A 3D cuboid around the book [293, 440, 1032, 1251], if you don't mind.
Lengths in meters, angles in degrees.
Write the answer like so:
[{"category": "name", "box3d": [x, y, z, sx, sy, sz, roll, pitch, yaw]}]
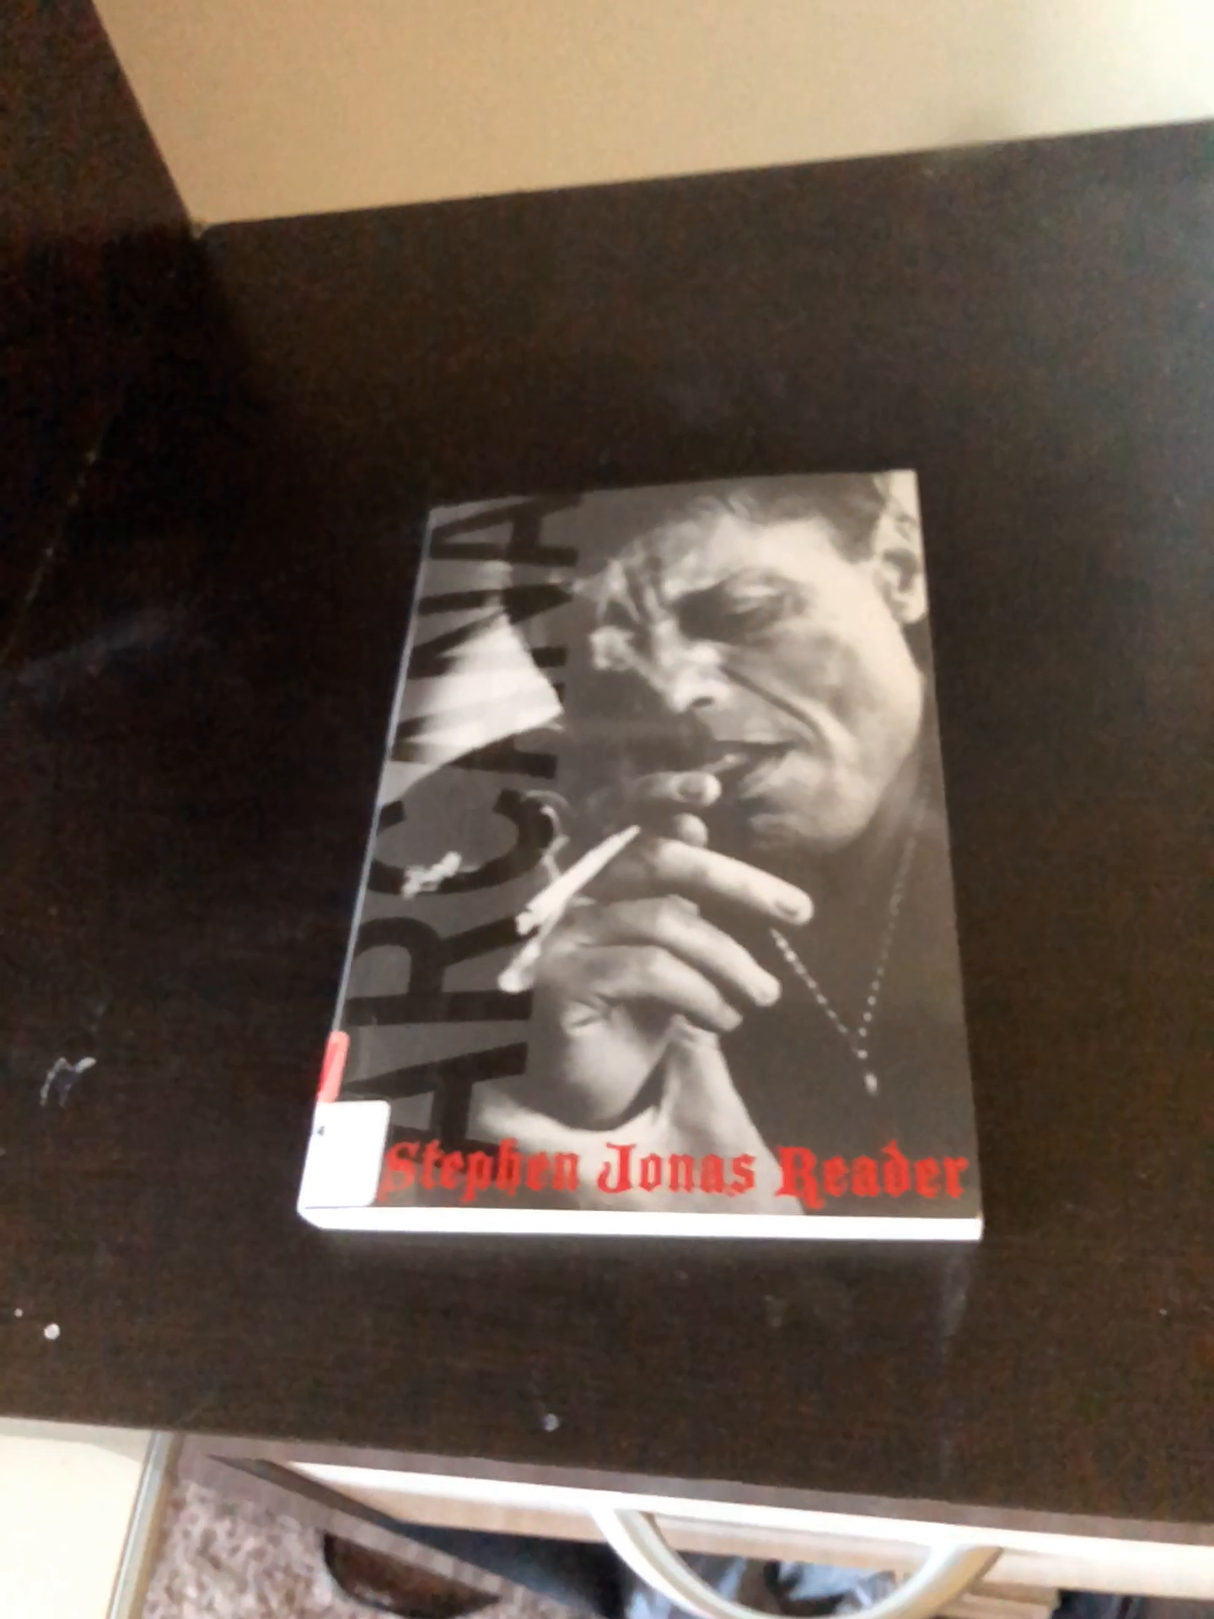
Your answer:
[{"category": "book", "box3d": [0.019, -0.004, 0.407, 0.179, 0.024, 0.260, -2, 57, 10]}]
